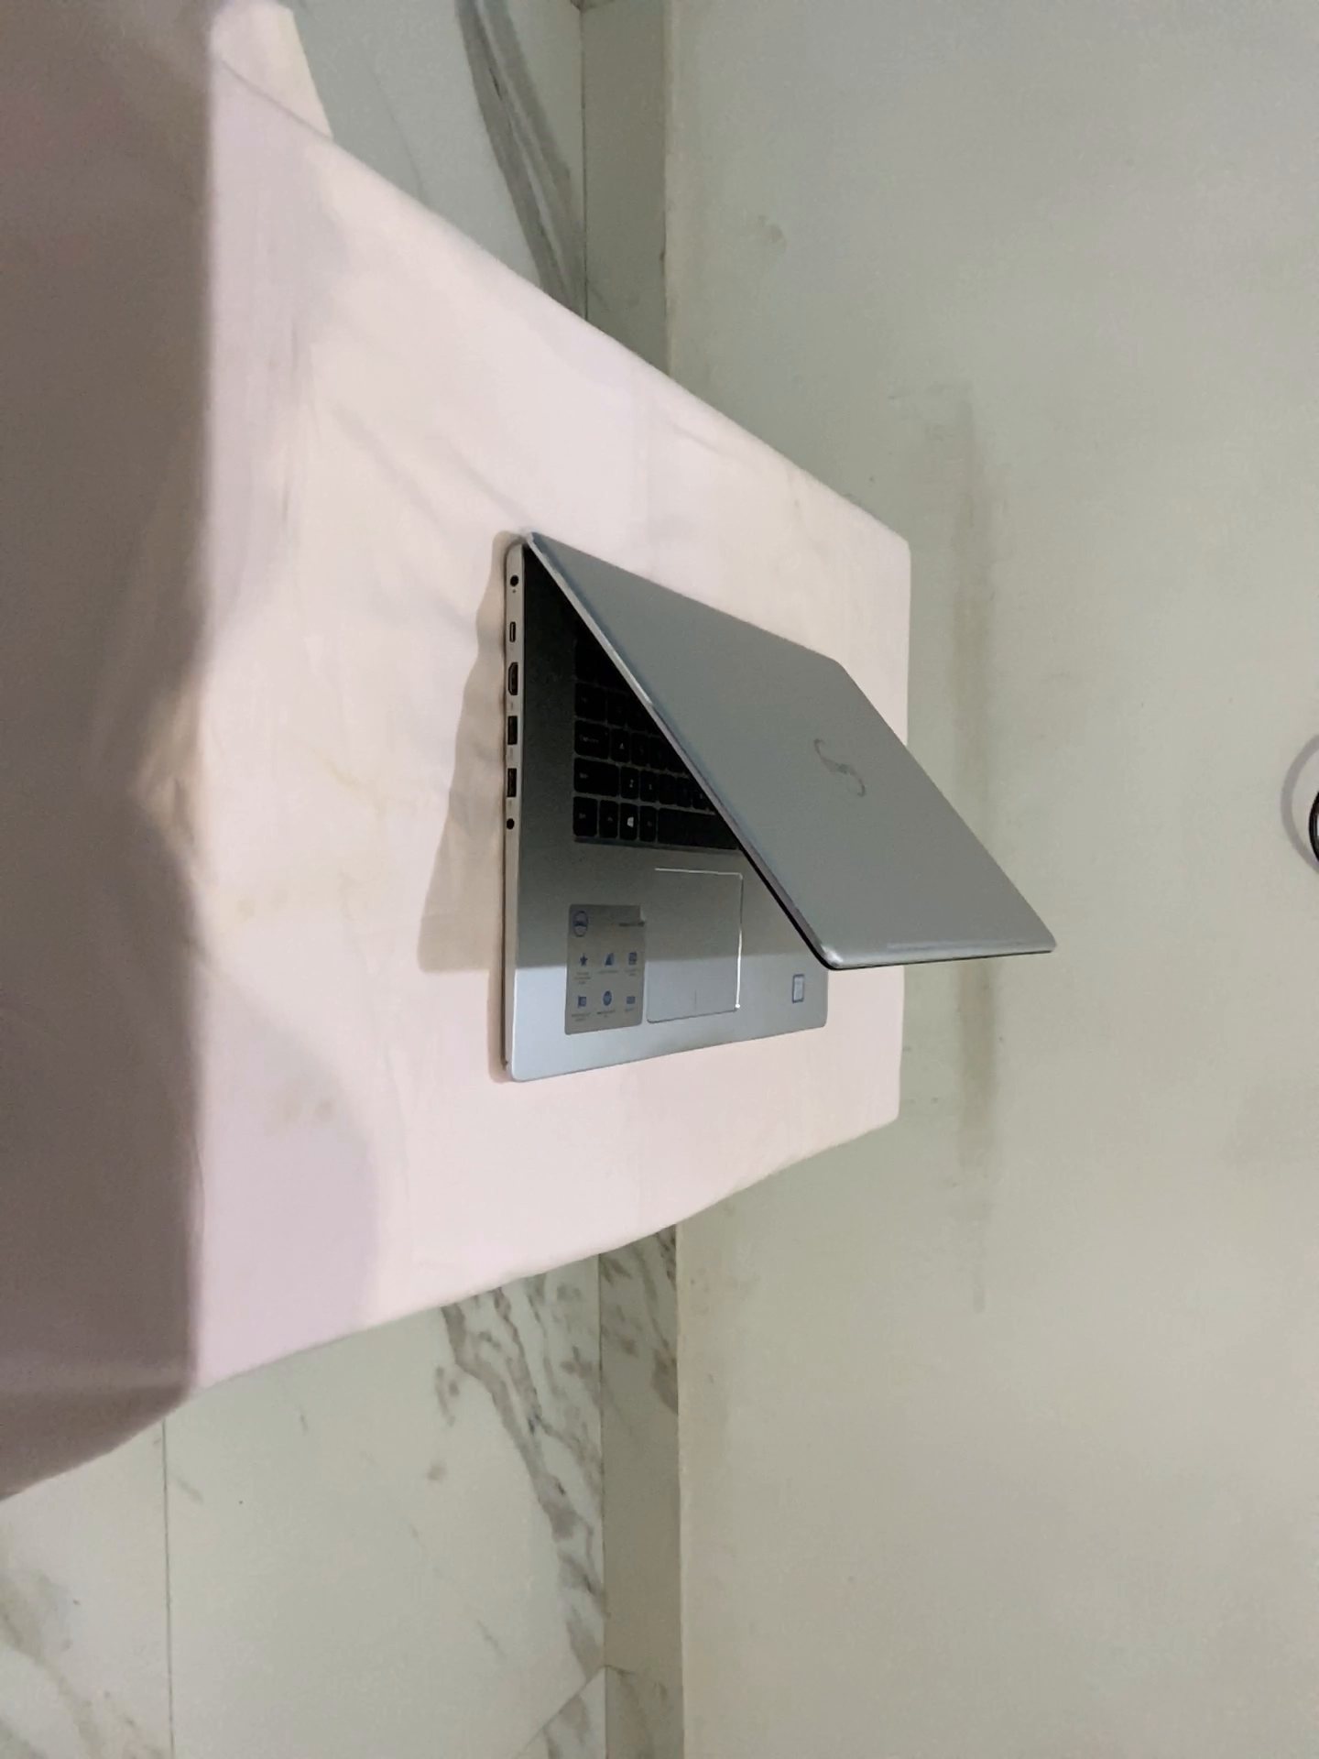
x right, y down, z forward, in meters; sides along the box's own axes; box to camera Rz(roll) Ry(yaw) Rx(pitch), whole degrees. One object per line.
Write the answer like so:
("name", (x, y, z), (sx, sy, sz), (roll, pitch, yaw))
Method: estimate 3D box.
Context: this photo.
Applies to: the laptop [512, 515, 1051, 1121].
("laptop", (0.088, -0.025, 0.706), (0.349, 0.148, 0.234), (0, 90, -60))
